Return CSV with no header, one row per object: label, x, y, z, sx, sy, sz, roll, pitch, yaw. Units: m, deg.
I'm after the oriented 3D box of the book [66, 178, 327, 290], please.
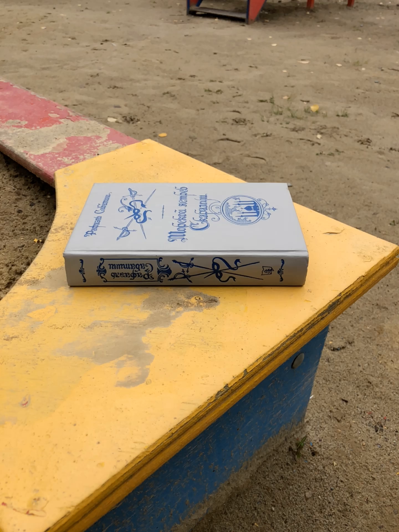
book,-0.002,-0.036,0.421,0.210,0.037,0.136,1,36,-1
